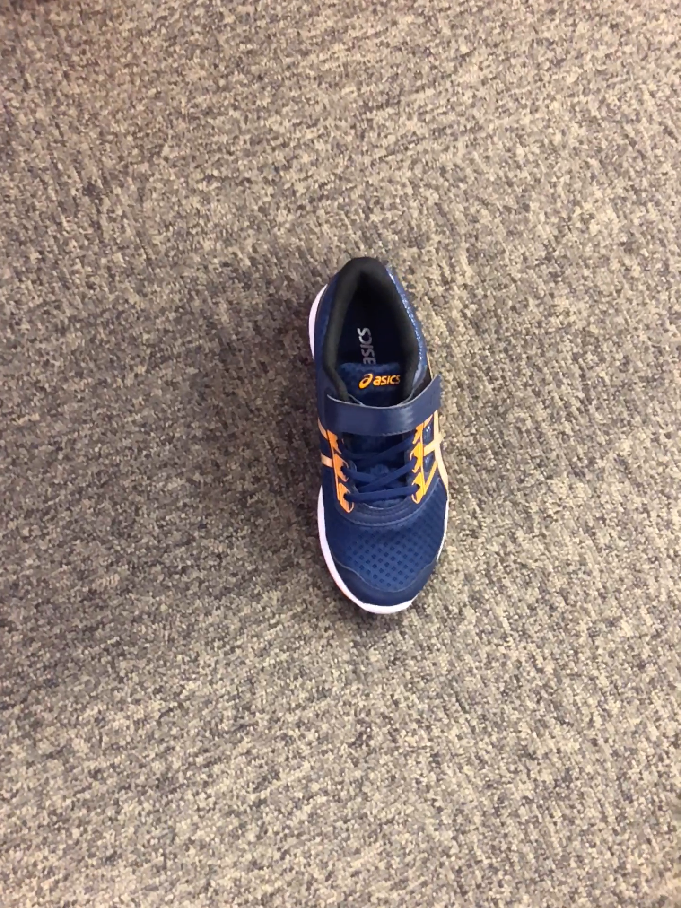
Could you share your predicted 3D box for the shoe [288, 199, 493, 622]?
[{"bbox_3d":[0.024,-0.023,0.471,0.090,0.100,0.235,-5,82,-4],"label":"shoe"}]
